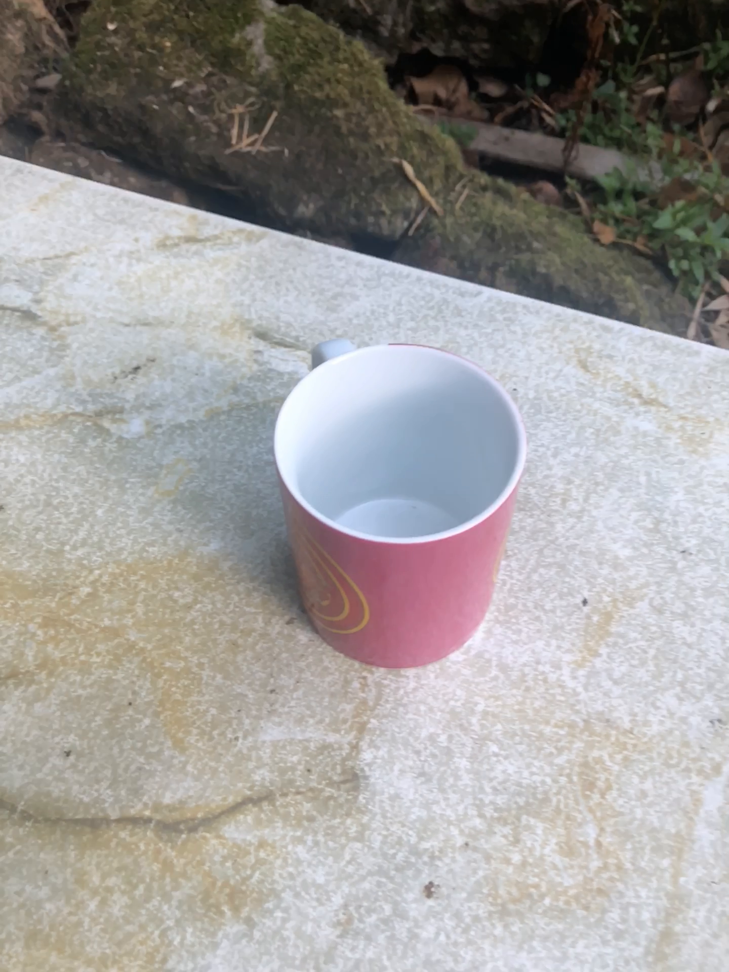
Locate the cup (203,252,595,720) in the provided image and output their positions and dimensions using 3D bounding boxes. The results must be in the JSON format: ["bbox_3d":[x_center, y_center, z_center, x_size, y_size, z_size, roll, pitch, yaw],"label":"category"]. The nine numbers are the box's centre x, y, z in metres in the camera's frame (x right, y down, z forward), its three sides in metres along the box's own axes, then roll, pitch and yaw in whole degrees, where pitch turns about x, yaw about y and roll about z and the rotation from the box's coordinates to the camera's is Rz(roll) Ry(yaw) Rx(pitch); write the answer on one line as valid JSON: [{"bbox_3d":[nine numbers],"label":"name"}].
[{"bbox_3d":[0.005,0.000,0.280,0.076,0.089,0.116,-20,59,-13],"label":"cup"}]
